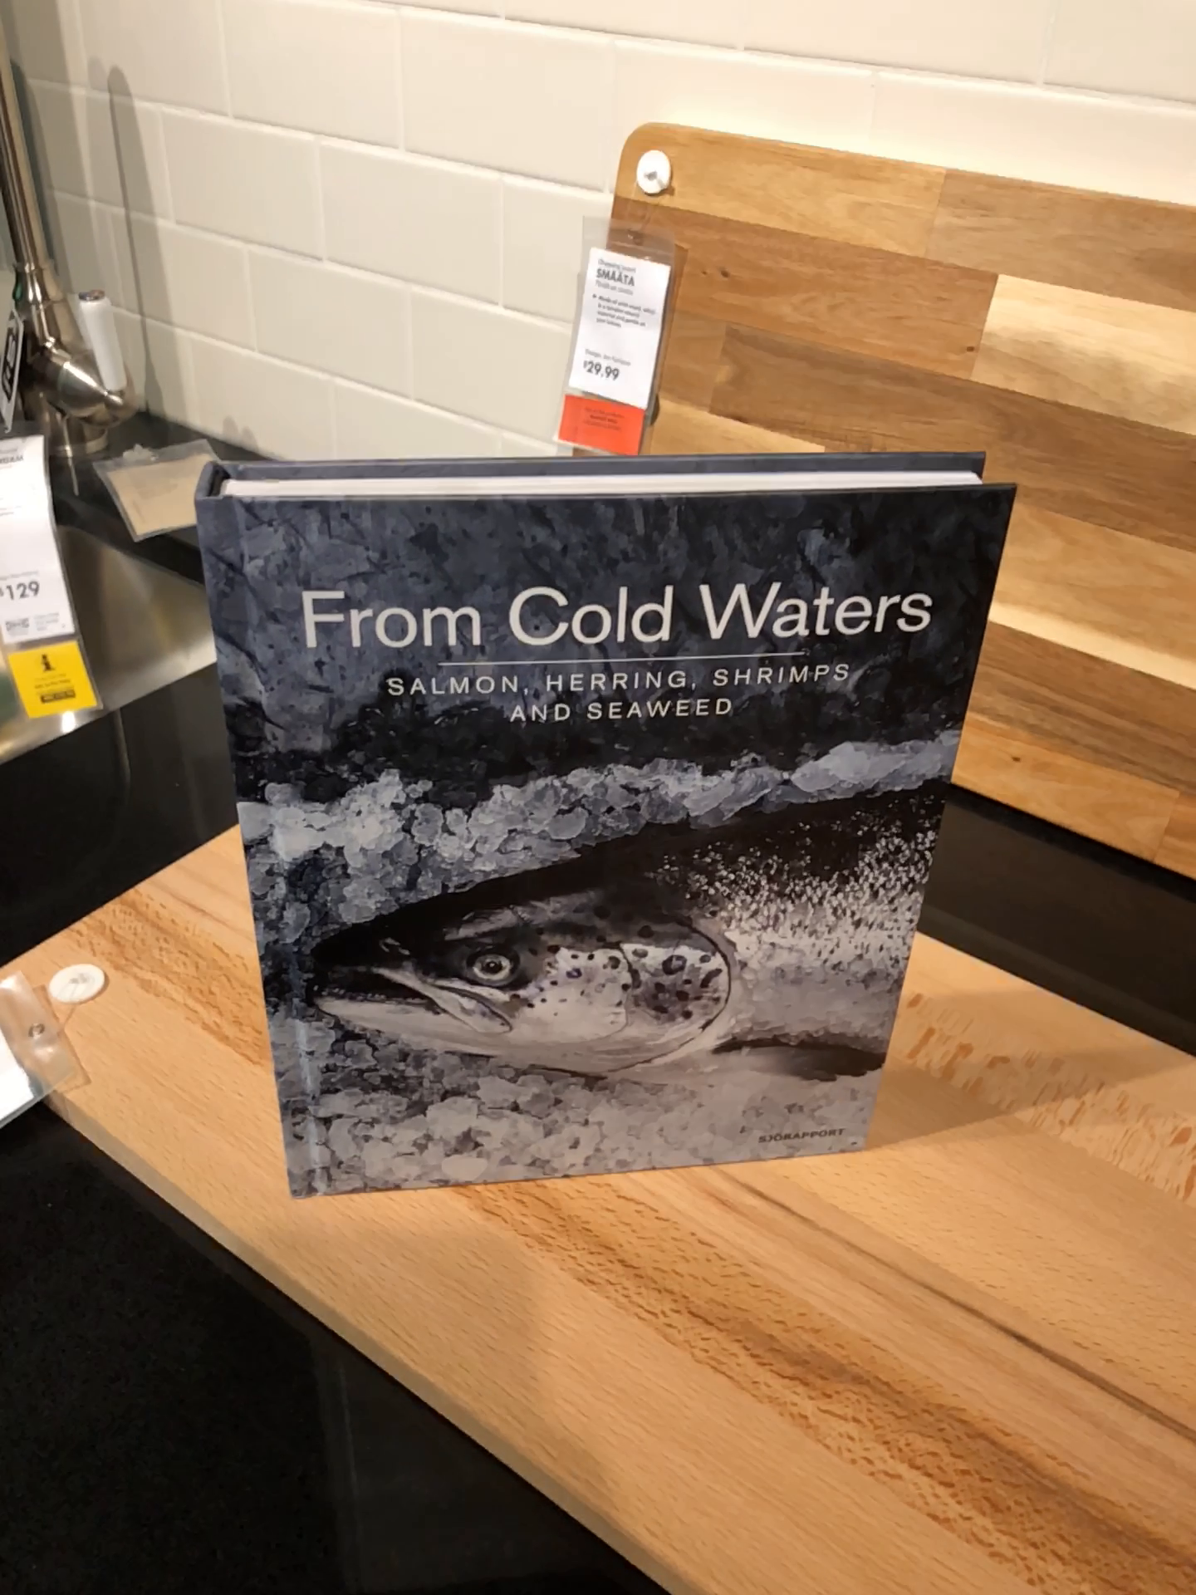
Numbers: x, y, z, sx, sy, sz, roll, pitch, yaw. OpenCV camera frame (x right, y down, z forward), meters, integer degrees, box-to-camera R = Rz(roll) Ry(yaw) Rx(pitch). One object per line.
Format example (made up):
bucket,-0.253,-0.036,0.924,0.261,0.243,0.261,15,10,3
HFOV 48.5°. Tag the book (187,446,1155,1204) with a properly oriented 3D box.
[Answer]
book,0.015,0.017,0.360,0.213,0.219,0.029,-2,34,-7
